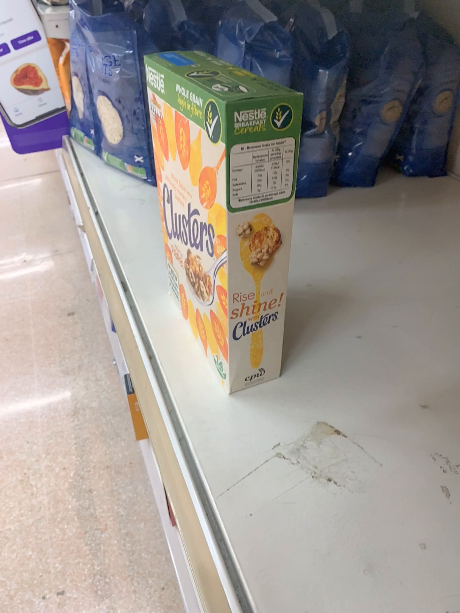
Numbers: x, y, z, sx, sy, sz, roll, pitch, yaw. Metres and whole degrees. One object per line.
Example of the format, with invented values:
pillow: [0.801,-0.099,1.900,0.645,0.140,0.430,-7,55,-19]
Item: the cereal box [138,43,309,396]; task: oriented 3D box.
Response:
cereal box: [-0.017,-0.085,0.455,0.060,0.267,0.202,-15,39,-19]
